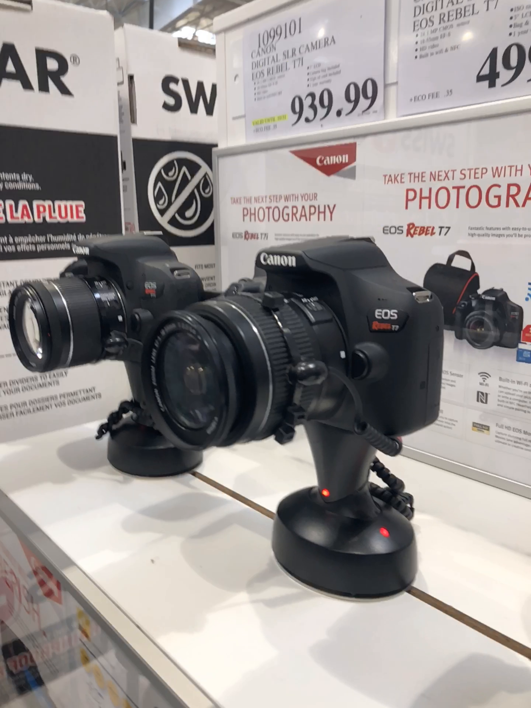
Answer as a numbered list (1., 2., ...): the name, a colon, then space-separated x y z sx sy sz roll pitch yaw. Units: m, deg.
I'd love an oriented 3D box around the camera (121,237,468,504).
1. camera: 0.013 -0.009 0.308 0.120 0.100 0.130 -12 17 -42
